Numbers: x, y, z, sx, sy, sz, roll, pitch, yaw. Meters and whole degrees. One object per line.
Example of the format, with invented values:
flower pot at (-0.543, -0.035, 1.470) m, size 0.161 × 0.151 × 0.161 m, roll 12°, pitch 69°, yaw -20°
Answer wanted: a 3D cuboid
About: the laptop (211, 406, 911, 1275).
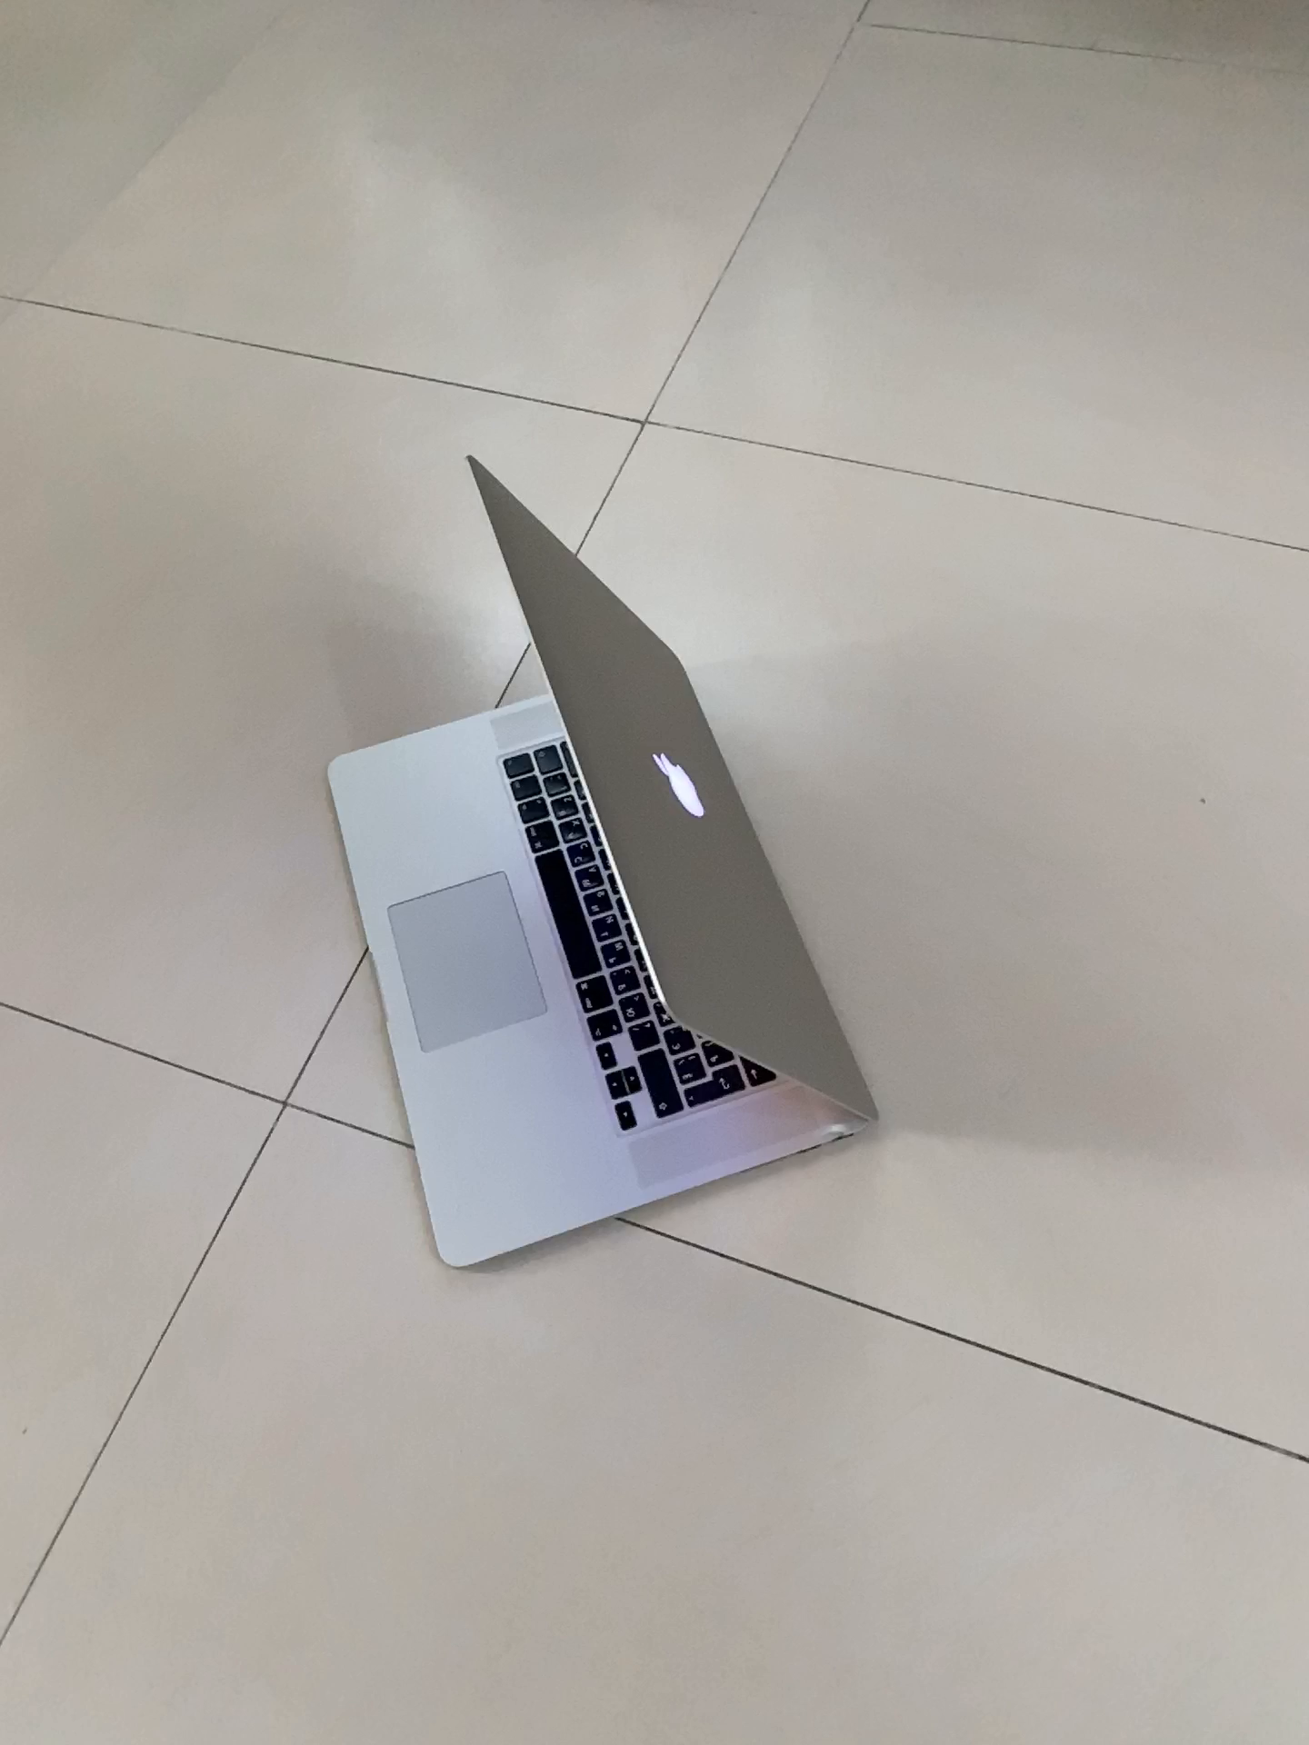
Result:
laptop at (-0.058, -0.022, 0.718) m, size 0.241 × 0.208 × 0.360 m, roll -17°, pitch 59°, yaw -6°
